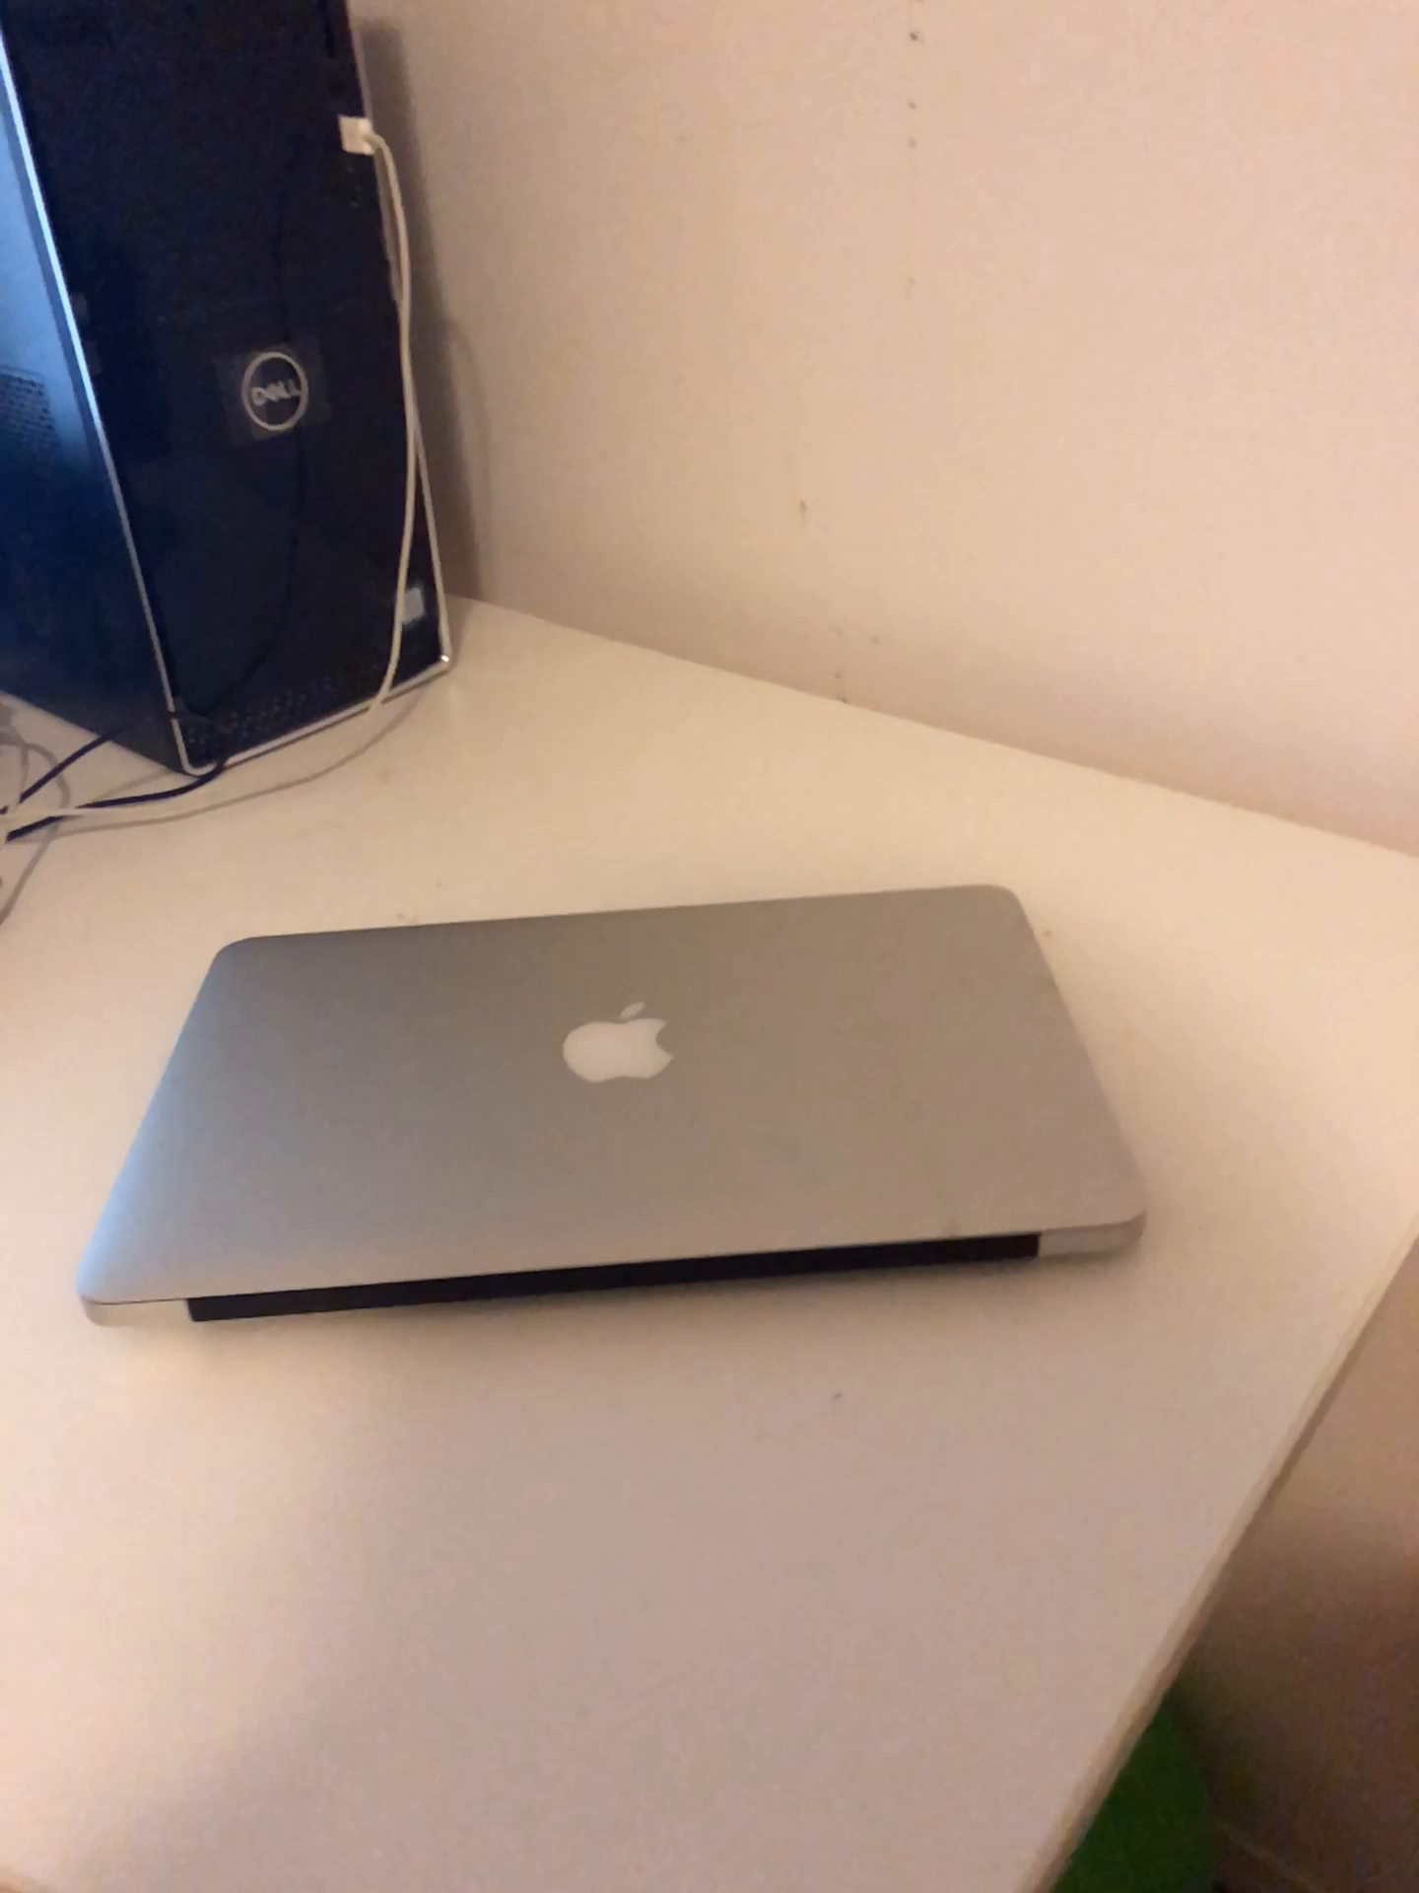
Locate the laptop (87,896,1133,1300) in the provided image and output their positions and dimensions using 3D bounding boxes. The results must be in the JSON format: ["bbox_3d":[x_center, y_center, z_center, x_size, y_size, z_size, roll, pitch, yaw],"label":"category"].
[{"bbox_3d":[-0.030,0.039,0.508,0.290,0.004,0.179,-4,32,-1],"label":"laptop"}]
